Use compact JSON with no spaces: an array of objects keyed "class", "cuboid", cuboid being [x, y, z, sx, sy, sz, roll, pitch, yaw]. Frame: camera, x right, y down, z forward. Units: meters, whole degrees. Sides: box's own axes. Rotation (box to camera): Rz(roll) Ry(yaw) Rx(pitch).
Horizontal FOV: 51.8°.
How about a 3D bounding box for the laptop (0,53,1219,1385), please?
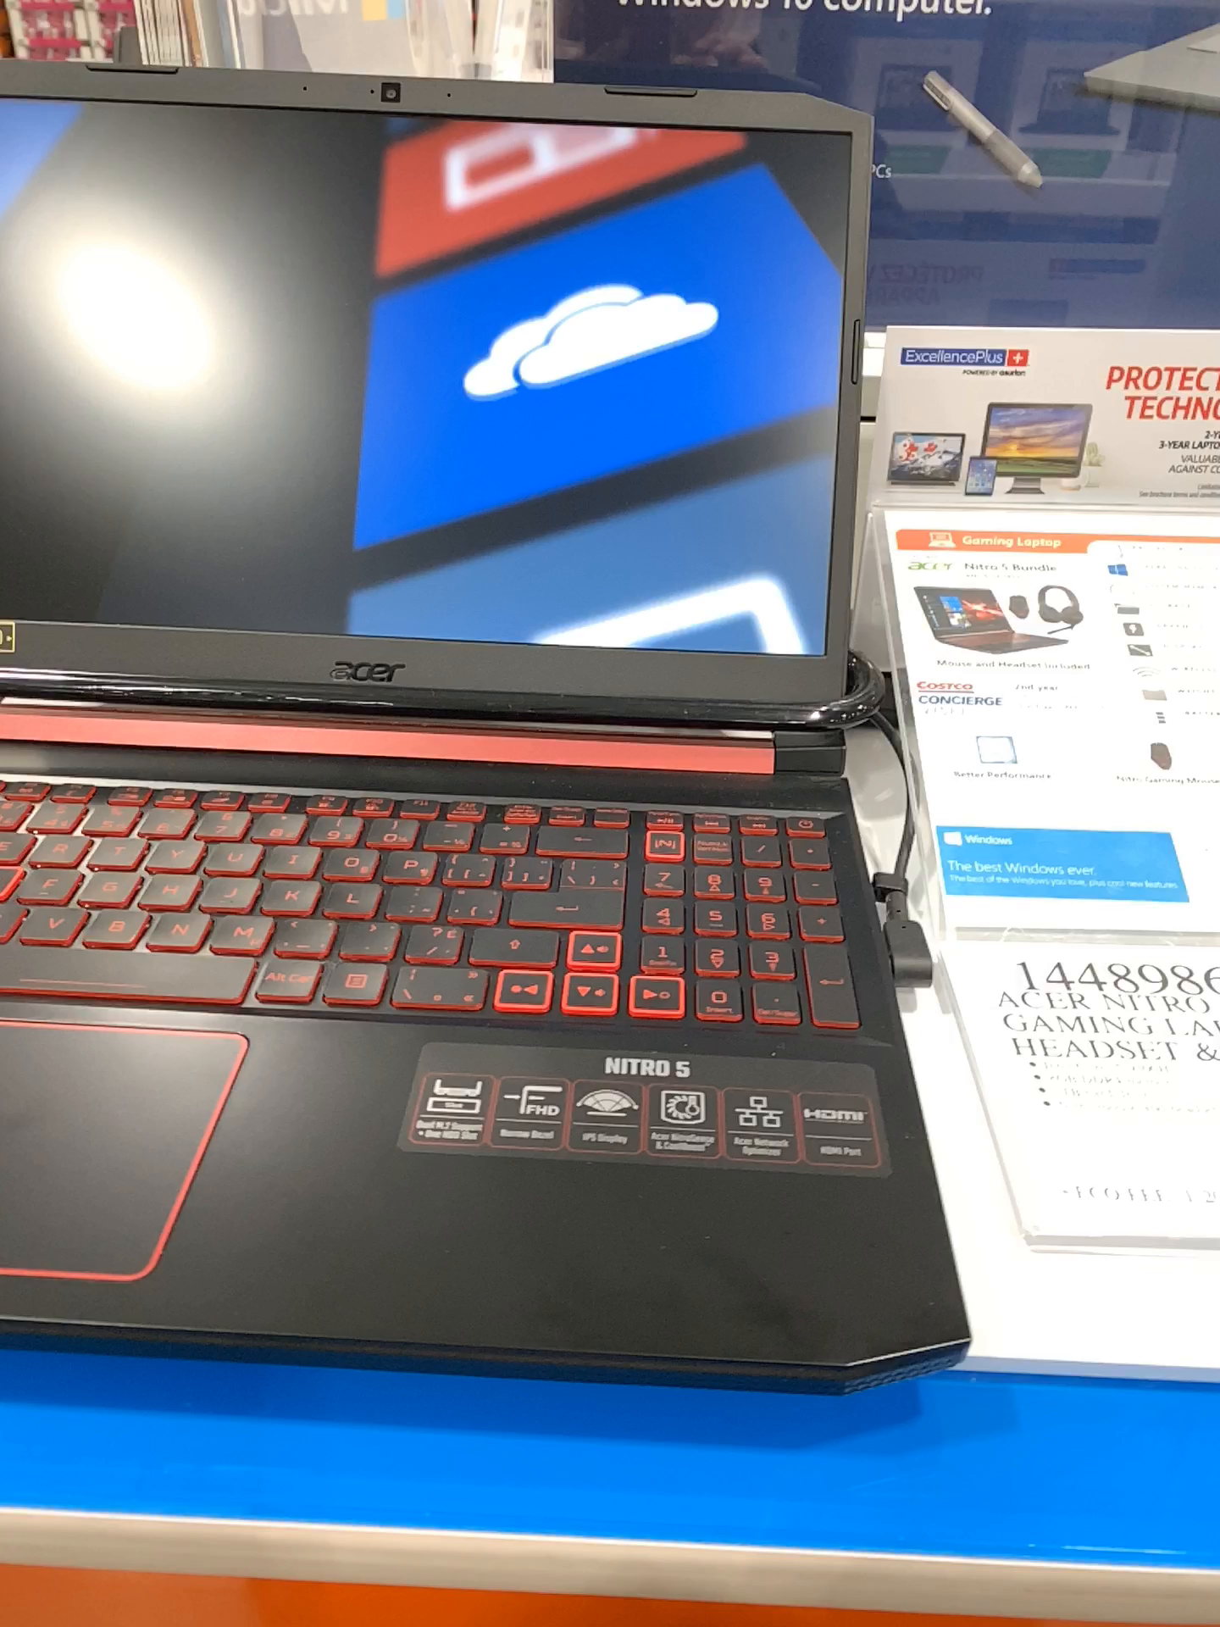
[{"class":"laptop","cuboid":[-0.096,-0.090,0.371,0.358,0.198,0.381,3,34,2]}]
